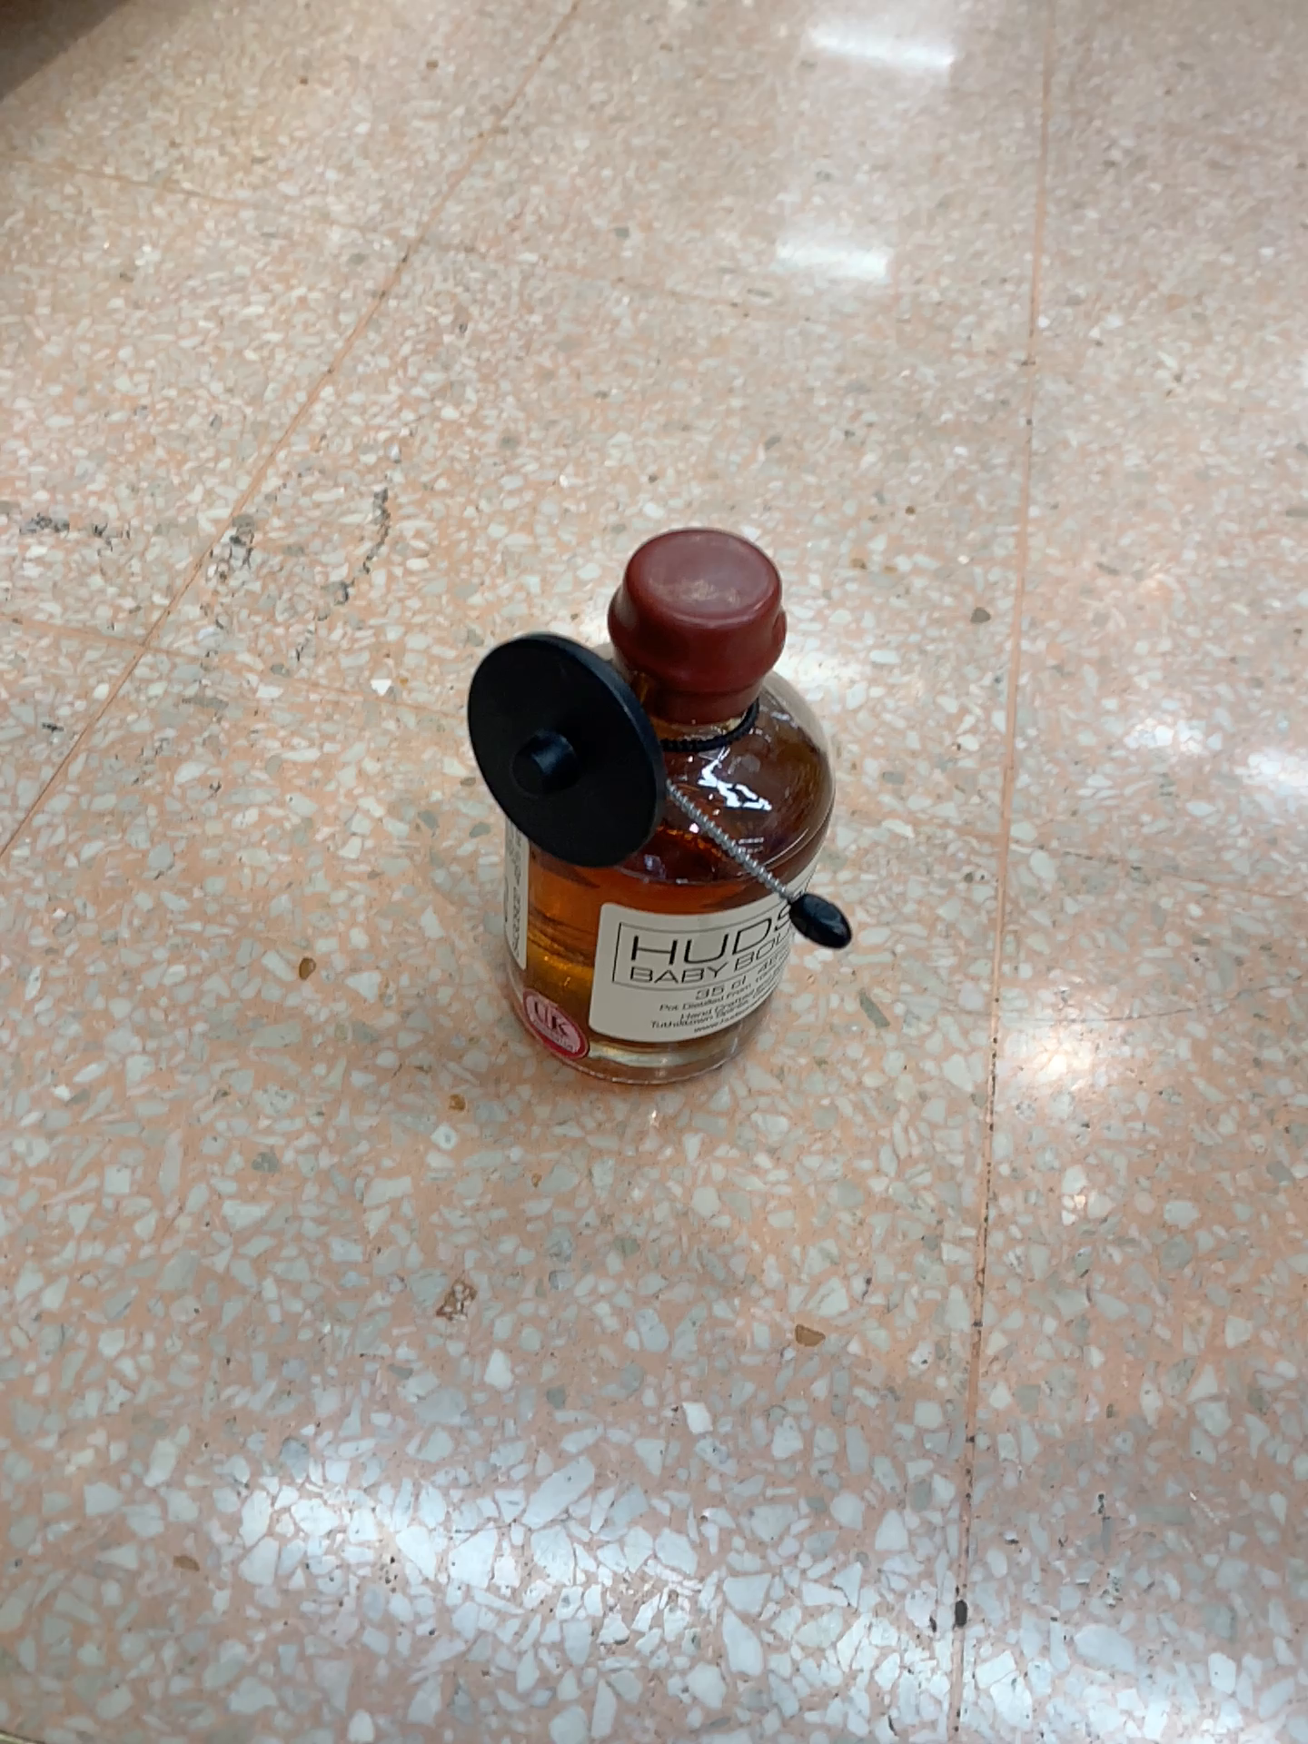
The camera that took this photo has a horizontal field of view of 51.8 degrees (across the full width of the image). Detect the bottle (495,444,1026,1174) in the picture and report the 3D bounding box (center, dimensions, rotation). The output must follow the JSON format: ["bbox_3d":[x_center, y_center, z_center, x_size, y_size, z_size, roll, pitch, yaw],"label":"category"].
[{"bbox_3d":[0.015,-0.009,0.318,0.073,0.142,0.076,3,51,-4],"label":"bottle"}]
